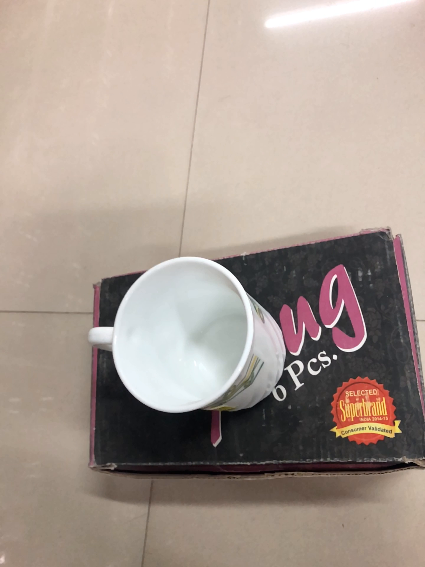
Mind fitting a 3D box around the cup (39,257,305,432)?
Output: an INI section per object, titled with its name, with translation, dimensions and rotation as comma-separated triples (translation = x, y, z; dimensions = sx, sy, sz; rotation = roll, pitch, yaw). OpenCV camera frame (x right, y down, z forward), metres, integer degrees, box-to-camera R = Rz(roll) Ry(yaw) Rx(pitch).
[cup]
translation = -0.015, 0.041, 0.284
dimensions = 0.120, 0.100, 0.080
rotation = -2, 73, 21
